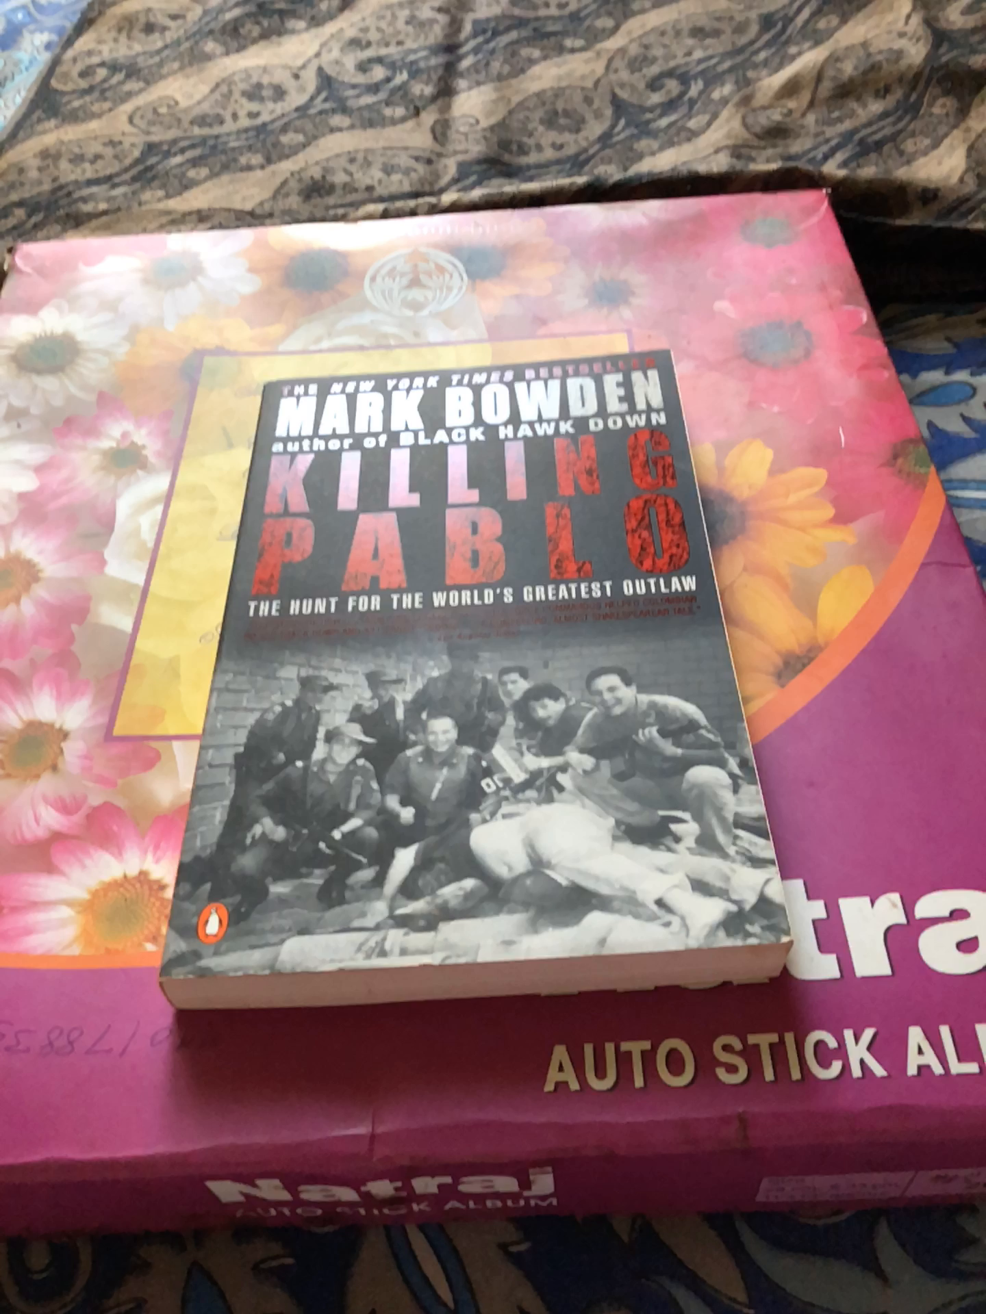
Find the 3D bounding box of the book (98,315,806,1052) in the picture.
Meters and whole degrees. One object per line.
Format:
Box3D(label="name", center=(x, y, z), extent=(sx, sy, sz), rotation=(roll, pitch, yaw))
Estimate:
Box3D(label="book", center=(-0.011, -0.012, 0.317), extent=(0.150, 0.030, 0.231), rotation=(-6, 49, 6))
